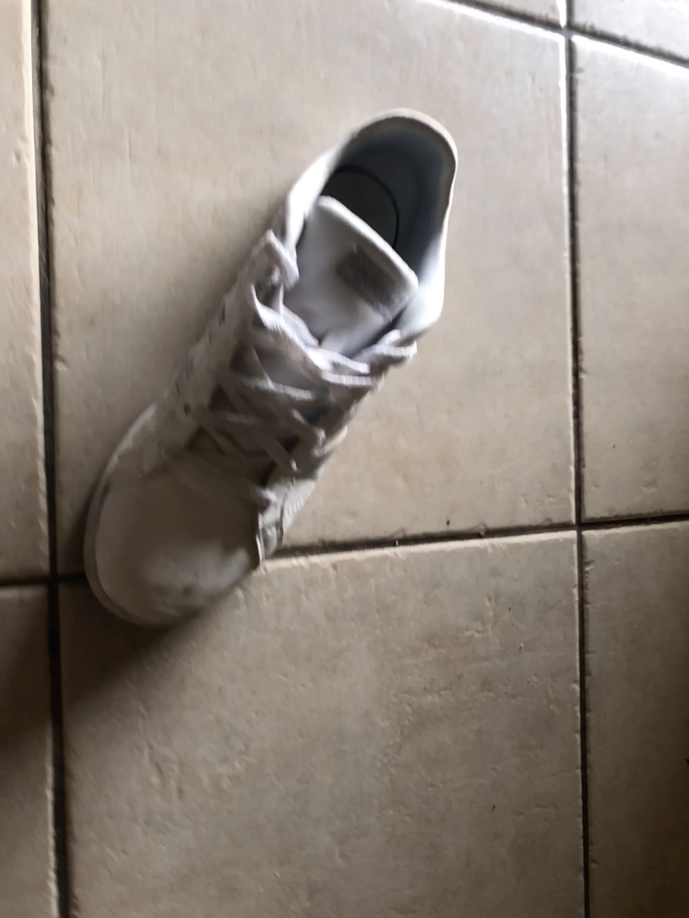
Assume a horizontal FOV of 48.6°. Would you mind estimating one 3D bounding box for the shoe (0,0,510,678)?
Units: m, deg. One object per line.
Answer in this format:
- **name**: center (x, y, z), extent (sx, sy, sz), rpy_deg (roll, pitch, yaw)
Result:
- **shoe**: center (-0.044, -0.061, 0.331), extent (0.090, 0.100, 0.270), rpy_deg (33, 75, -23)
